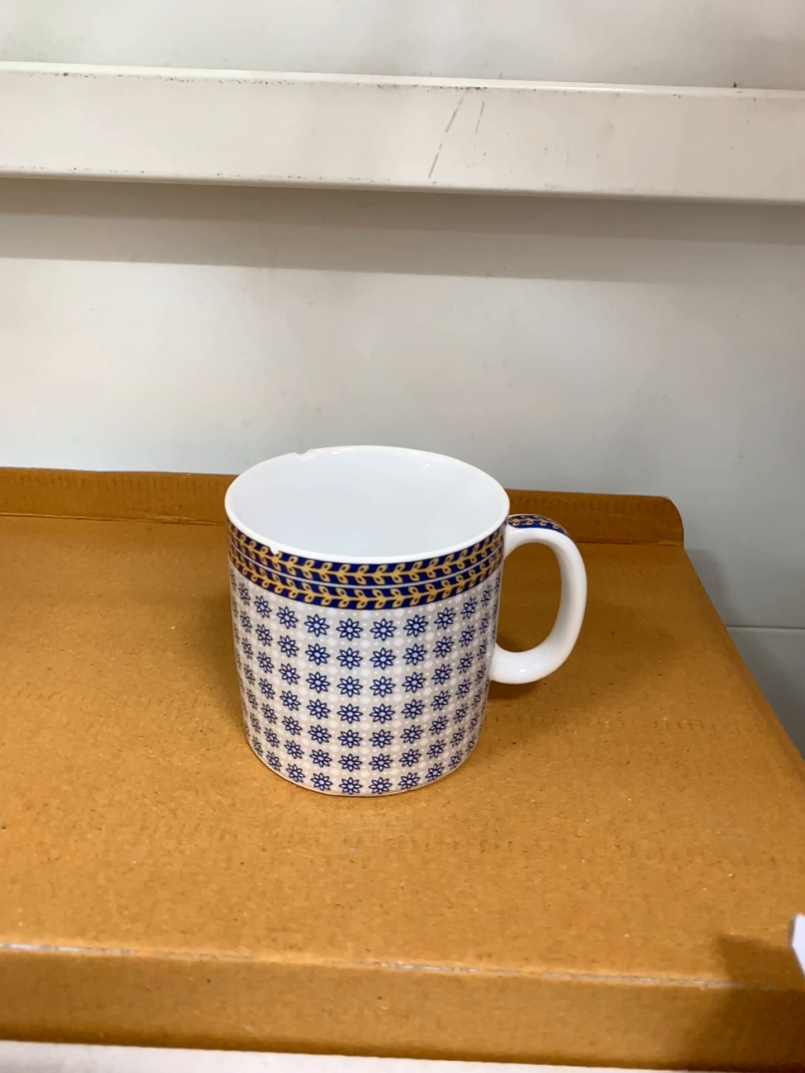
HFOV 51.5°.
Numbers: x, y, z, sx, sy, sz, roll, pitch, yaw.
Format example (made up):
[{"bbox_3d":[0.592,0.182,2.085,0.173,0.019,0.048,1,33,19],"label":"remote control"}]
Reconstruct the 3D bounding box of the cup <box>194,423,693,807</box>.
[{"bbox_3d":[0.004,0.015,0.231,0.110,0.069,0.081,-2,24,-9],"label":"cup"}]
